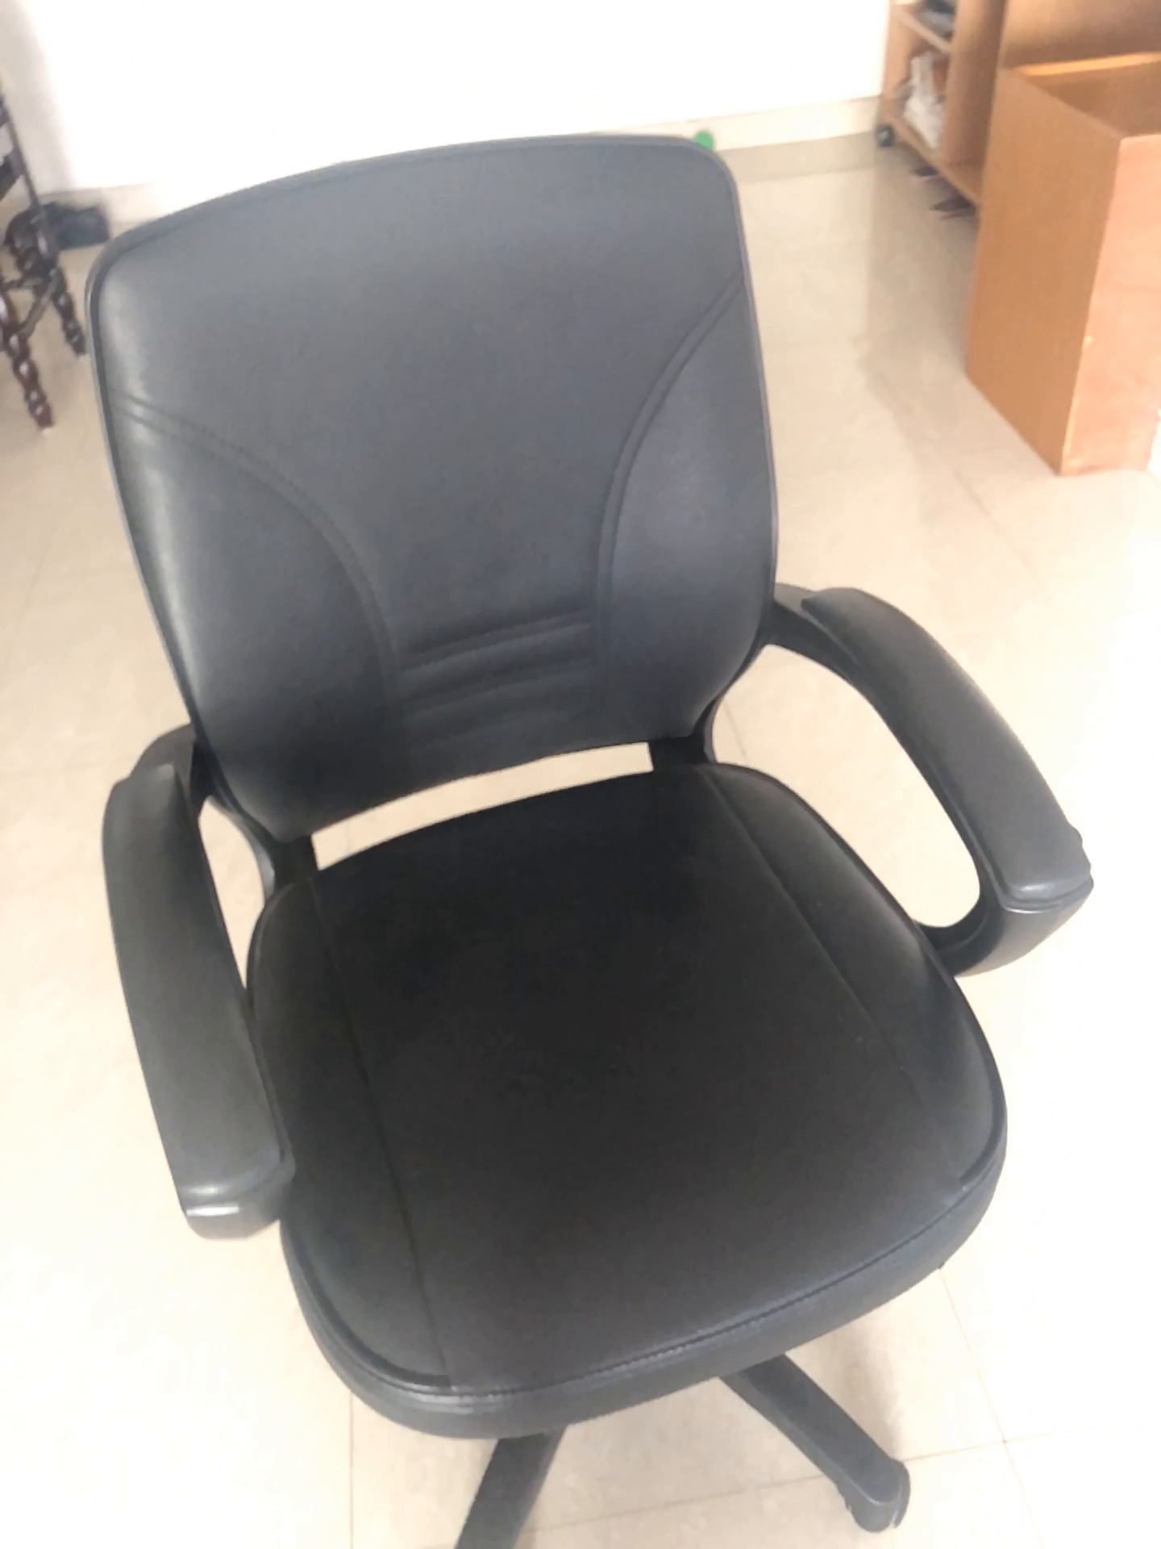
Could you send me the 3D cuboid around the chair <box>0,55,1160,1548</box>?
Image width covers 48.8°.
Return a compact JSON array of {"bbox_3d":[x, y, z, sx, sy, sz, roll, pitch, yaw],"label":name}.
[{"bbox_3d":[0.010,0.118,0.939,0.700,0.953,0.634,-15,42,-11],"label":"chair"}]
